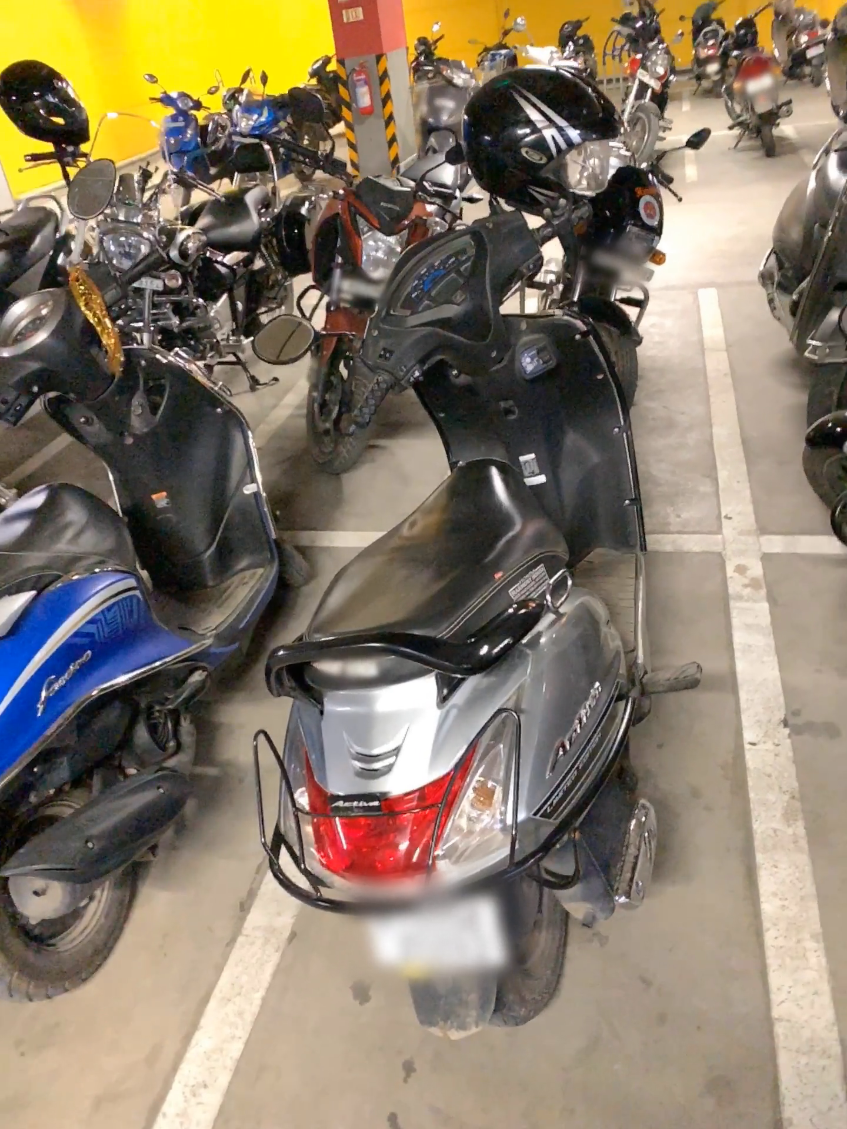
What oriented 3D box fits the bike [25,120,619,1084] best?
[{"bbox_3d":[0.067,-0.100,1.756,0.631,1.089,1.540,0,36,13],"label":"bike"}]
